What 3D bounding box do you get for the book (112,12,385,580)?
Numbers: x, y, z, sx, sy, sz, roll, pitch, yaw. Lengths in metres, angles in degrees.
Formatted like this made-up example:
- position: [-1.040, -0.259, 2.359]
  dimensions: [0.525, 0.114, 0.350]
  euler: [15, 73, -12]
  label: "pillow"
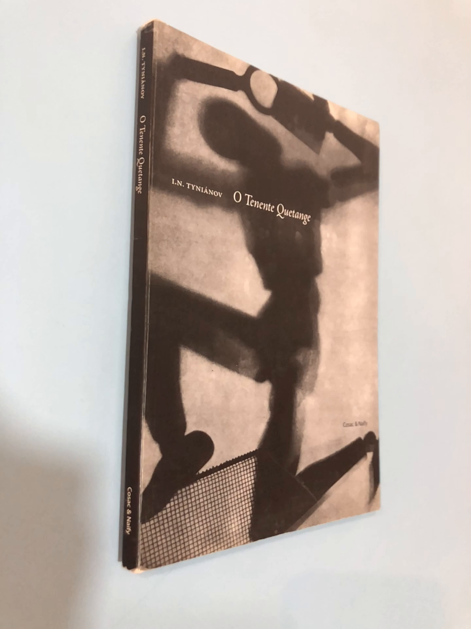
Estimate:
- position: [0.017, -0.006, 0.229]
  dimensions: [0.135, 0.016, 0.196]
  euler: [5, 83, -38]
  label: "book"
